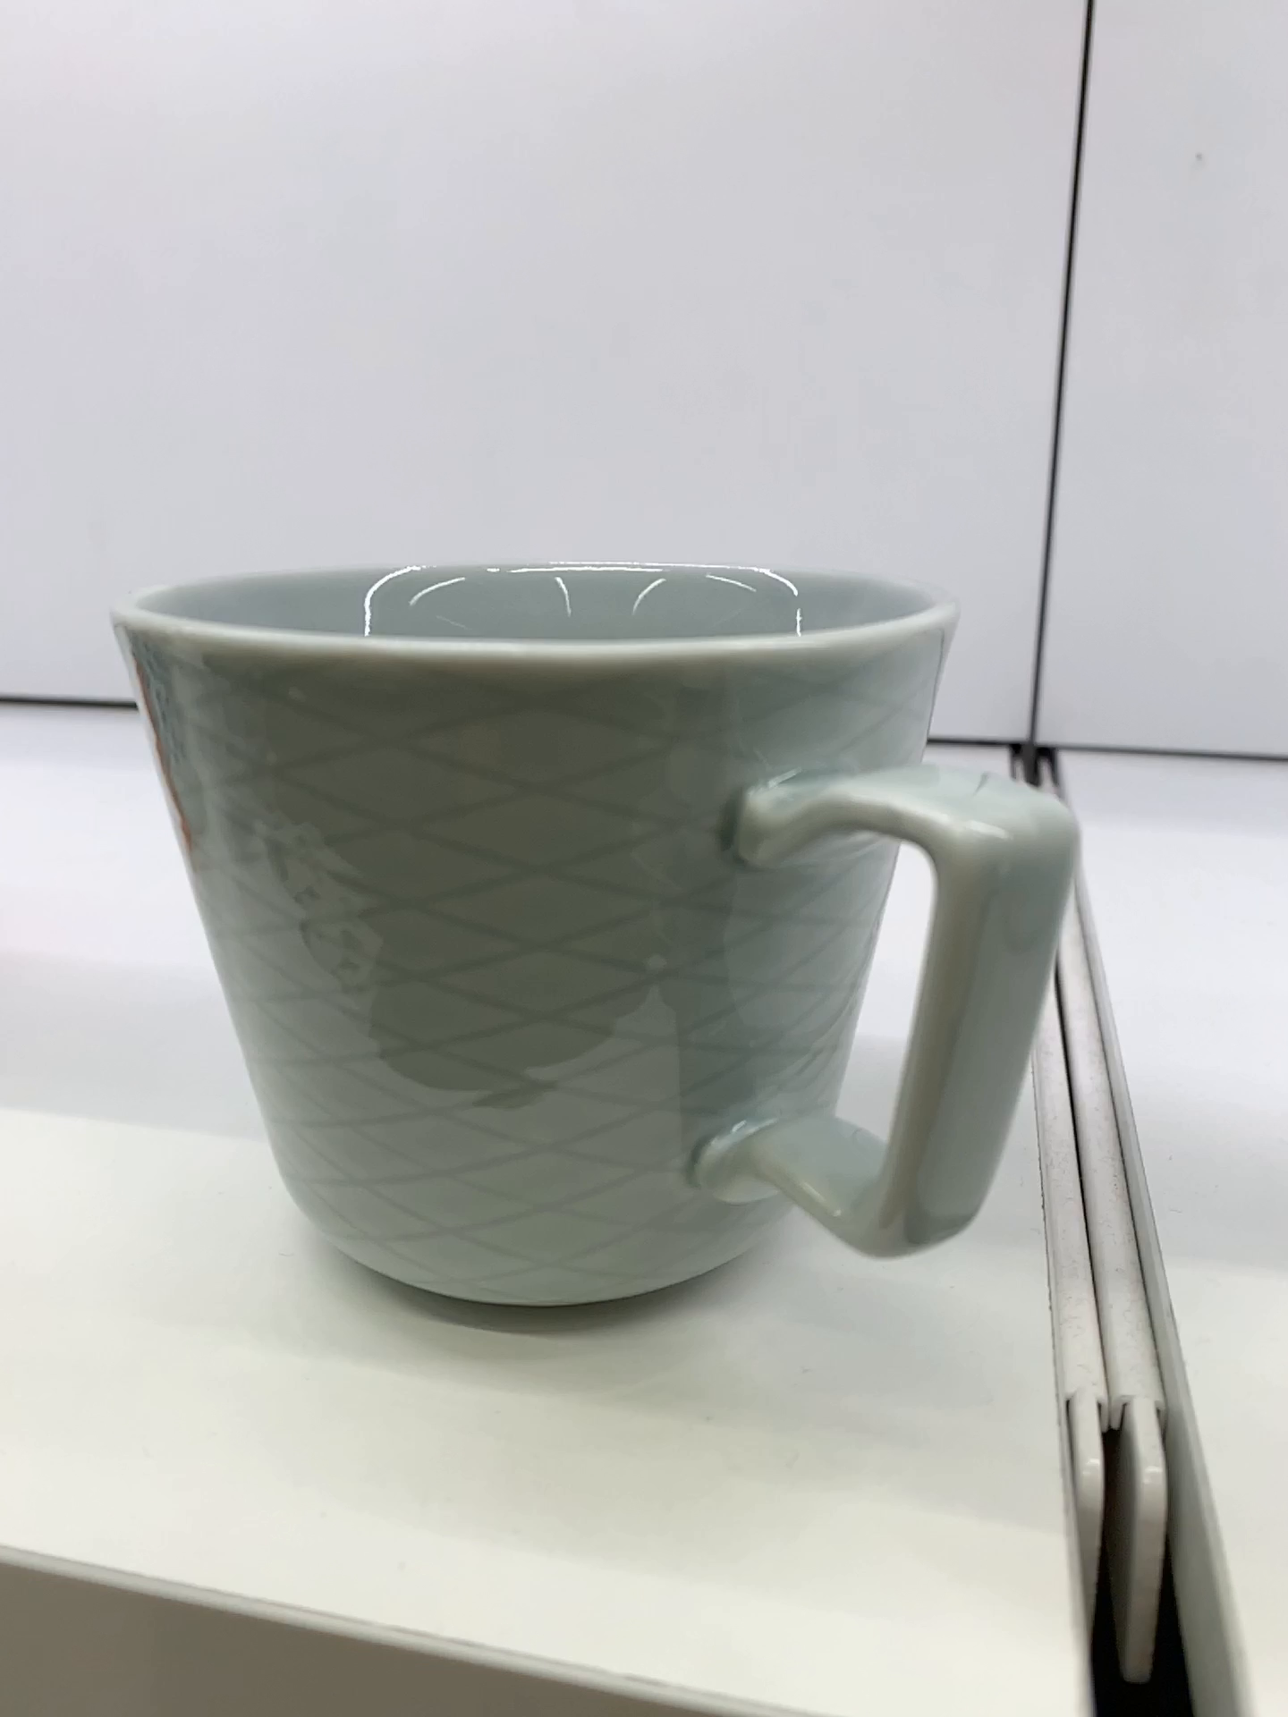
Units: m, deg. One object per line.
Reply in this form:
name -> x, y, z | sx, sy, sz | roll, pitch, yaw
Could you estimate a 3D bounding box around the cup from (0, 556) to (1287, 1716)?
cup -> -0.009, 0.009, 0.174 | 0.109, 0.089, 0.124 | -12, 19, -39
